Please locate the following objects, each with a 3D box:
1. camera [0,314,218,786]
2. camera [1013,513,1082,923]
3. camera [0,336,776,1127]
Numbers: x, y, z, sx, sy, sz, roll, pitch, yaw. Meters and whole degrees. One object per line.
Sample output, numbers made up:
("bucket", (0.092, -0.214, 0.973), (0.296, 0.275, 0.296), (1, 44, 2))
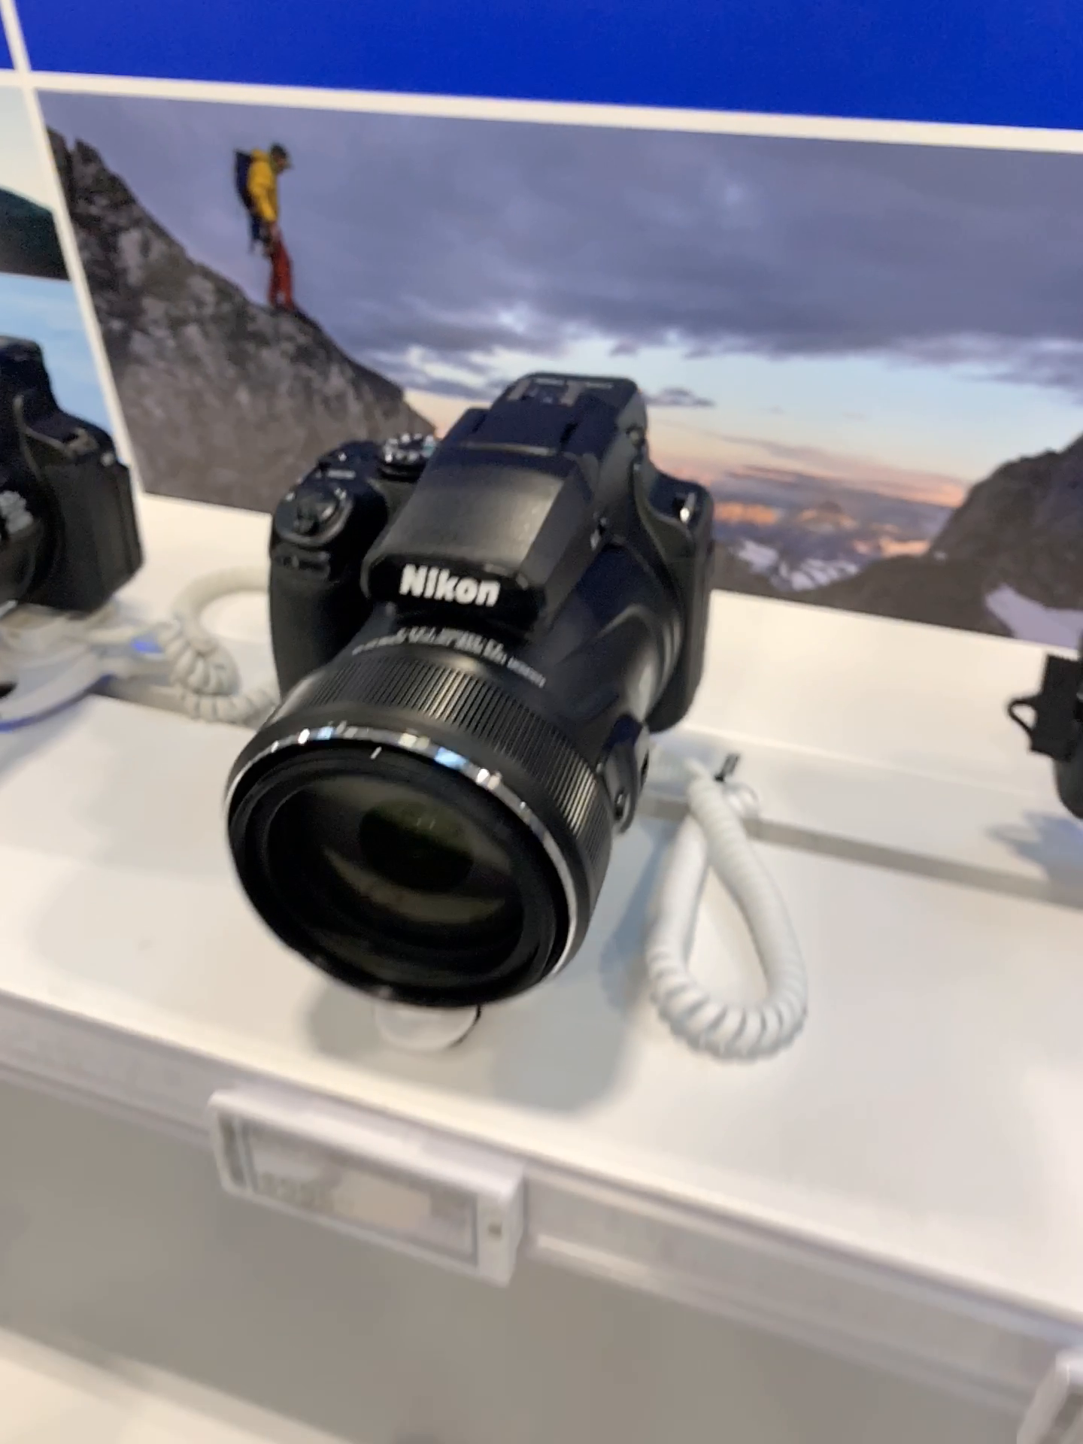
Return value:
("camera", (-0.238, -0.075, 0.422), (0.160, 0.099, 0.151), (11, 35, 15))
("camera", (0.219, -0.003, 0.341), (0.120, 0.090, 0.060), (8, 35, 10))
("camera", (-0.031, -0.024, 0.341), (0.160, 0.109, 0.221), (10, 35, 14))
